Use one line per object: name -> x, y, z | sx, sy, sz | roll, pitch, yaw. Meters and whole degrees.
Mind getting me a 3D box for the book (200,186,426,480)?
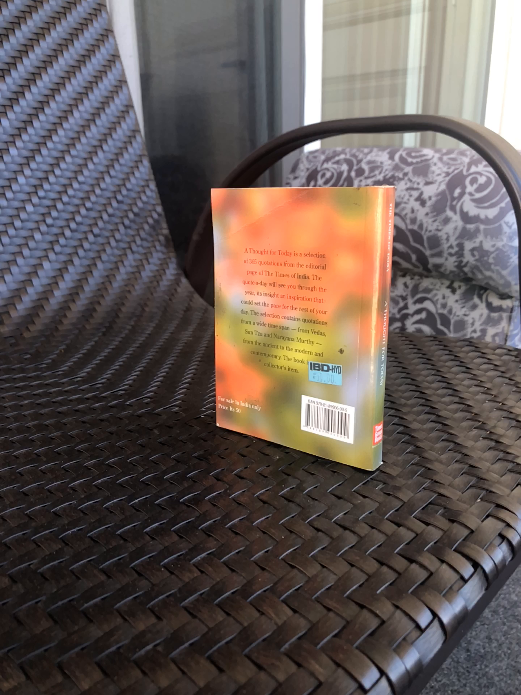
book -> 0.020, -0.014, 0.291 | 0.106, 0.129, 0.031 | 12, 19, 34
